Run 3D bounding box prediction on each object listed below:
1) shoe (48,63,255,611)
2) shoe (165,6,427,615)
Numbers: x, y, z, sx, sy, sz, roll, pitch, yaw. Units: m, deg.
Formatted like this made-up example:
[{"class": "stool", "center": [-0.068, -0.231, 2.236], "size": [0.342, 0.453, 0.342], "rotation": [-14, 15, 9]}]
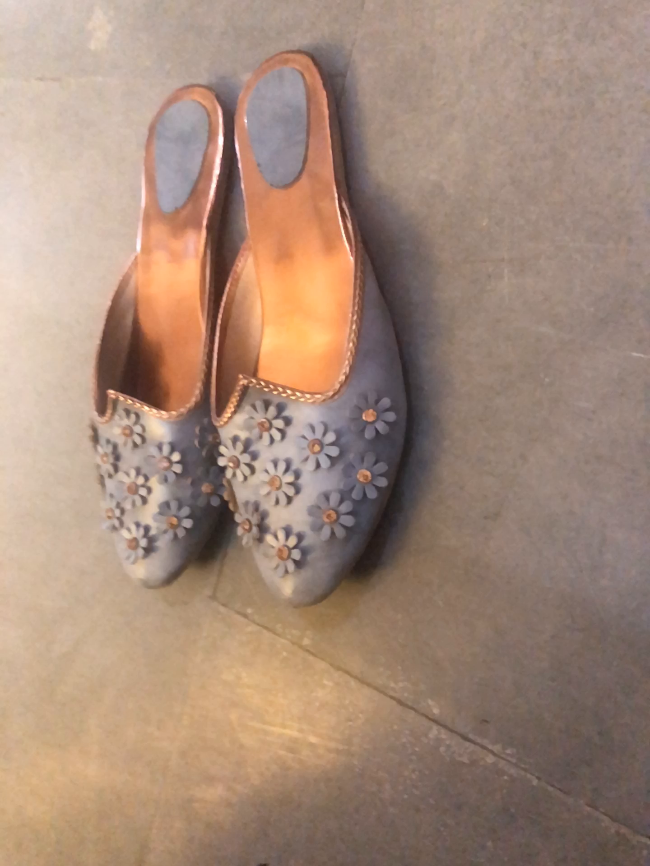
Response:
[{"class": "shoe", "center": [-0.096, -0.047, 0.400], "size": [0.101, 0.050, 0.270], "rotation": [-3, 85, 33]}, {"class": "shoe", "center": [-0.019, -0.051, 0.357], "size": [0.101, 0.050, 0.270], "rotation": [-9, 81, 33]}]
